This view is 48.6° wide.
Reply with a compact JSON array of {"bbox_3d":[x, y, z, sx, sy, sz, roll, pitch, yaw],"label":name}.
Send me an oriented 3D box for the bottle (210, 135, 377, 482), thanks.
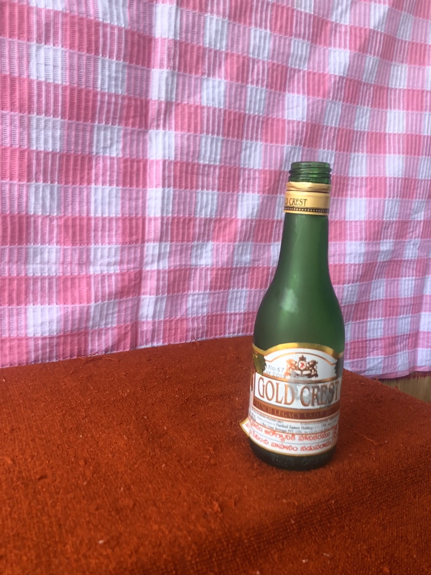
[{"bbox_3d":[0.040,0.009,0.266,0.060,0.170,0.060,6,11,-1],"label":"bottle"}]
